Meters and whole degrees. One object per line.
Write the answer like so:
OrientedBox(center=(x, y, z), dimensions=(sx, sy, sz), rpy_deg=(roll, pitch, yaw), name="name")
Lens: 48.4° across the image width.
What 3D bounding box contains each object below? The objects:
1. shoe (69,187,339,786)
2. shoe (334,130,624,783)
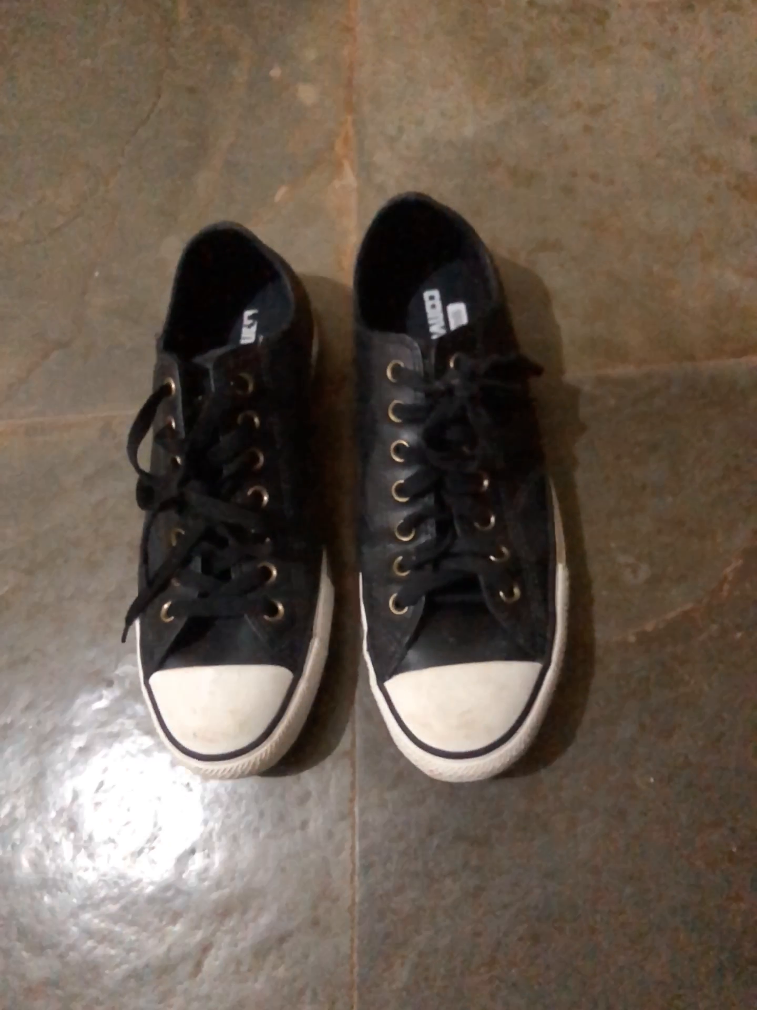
OrientedBox(center=(-0.080, -0.011, 0.432), dimensions=(0.100, 0.080, 0.291), rpy_deg=(-5, 71, 8), name="shoe")
OrientedBox(center=(0.042, -0.027, 0.422), dimensions=(0.110, 0.080, 0.311), rpy_deg=(-5, 71, 8), name="shoe")
